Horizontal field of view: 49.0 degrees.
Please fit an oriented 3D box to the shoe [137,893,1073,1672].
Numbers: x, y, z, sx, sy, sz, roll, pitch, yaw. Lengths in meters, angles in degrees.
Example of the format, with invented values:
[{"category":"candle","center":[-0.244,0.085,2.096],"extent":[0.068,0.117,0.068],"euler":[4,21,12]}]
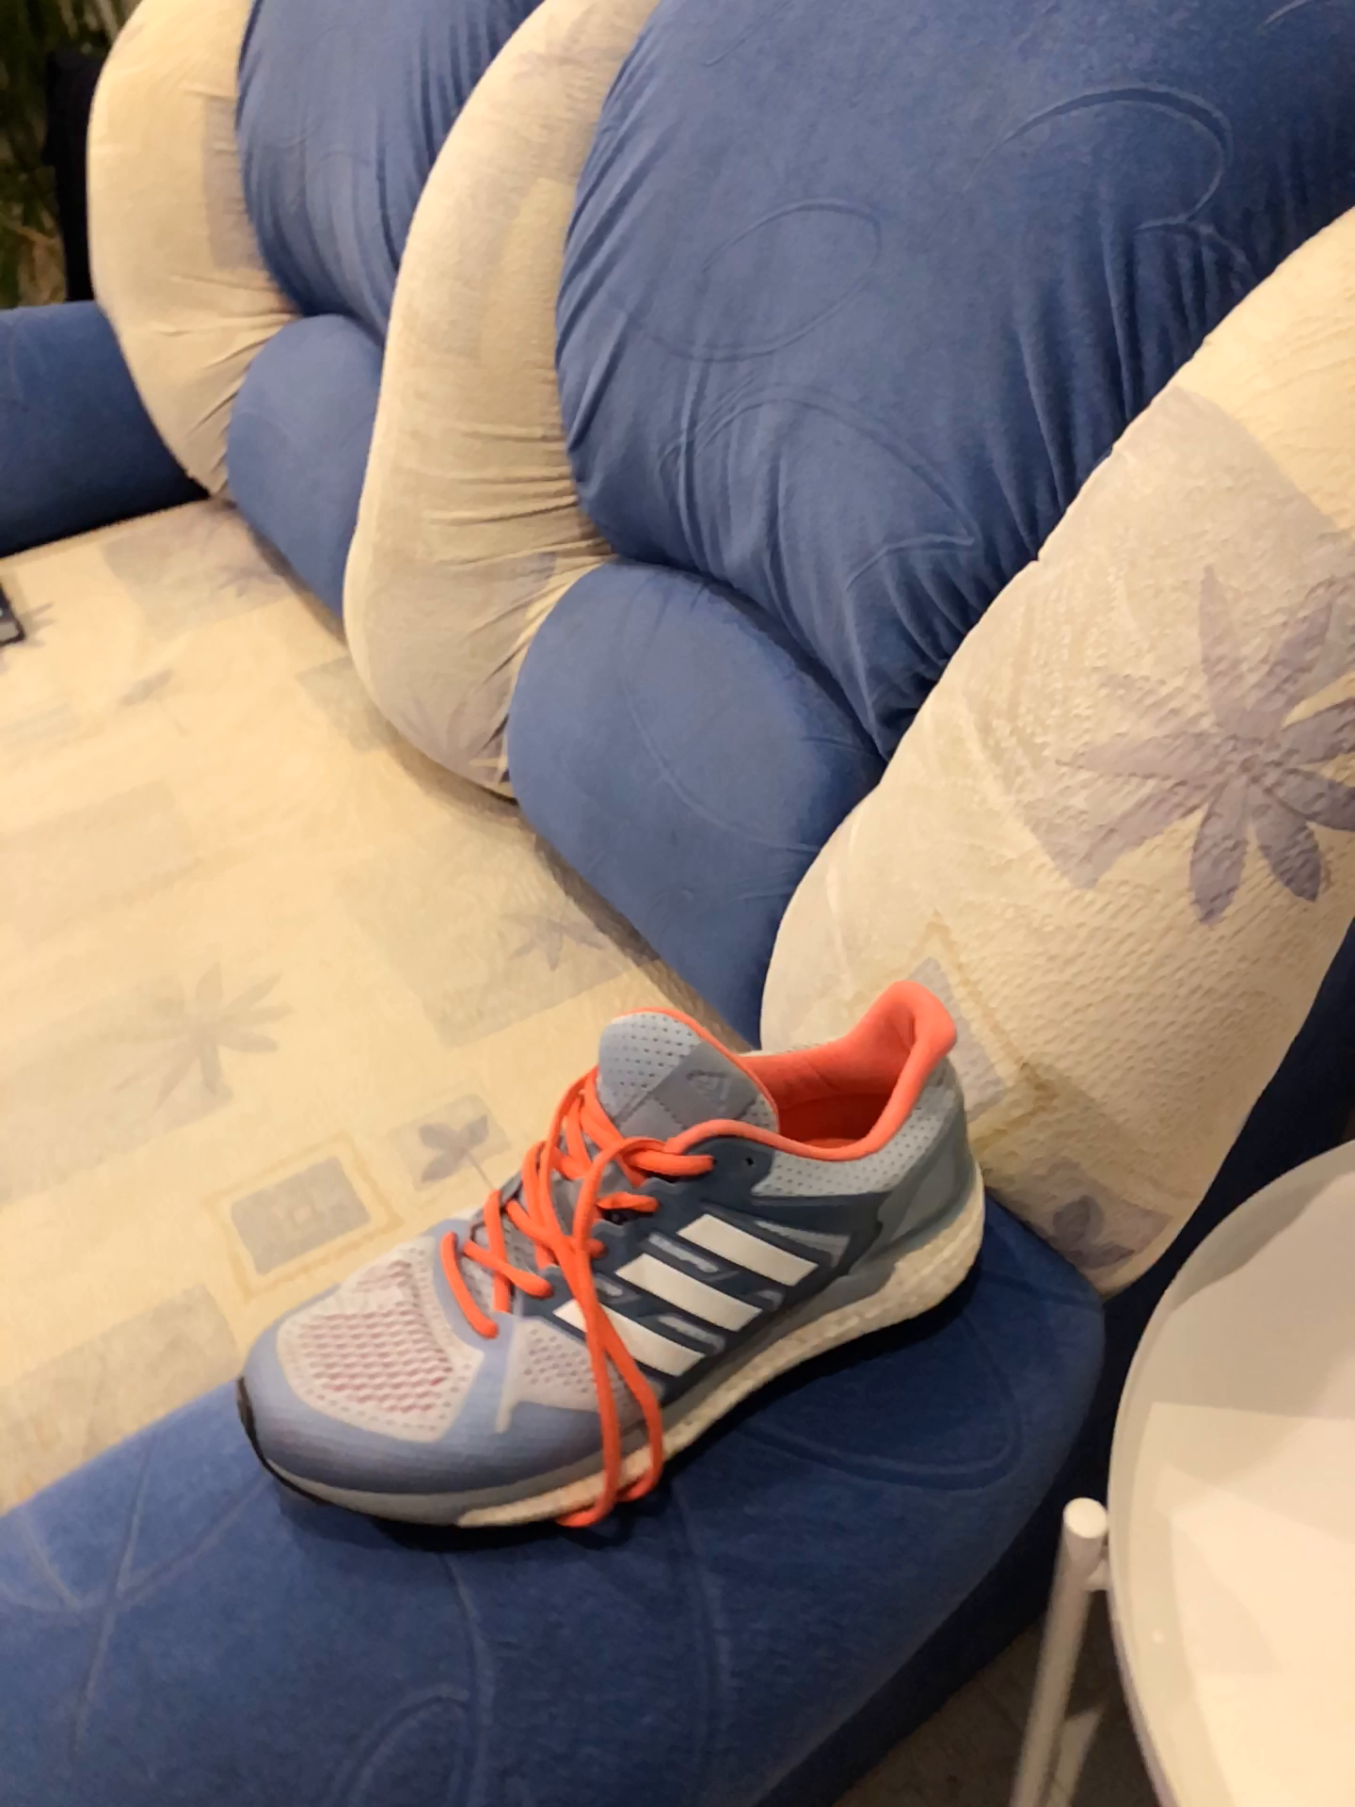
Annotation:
[{"category":"shoe","center":[-0.017,0.114,0.494],"extent":[0.271,0.109,0.108],"euler":[-21,42,-18]}]
